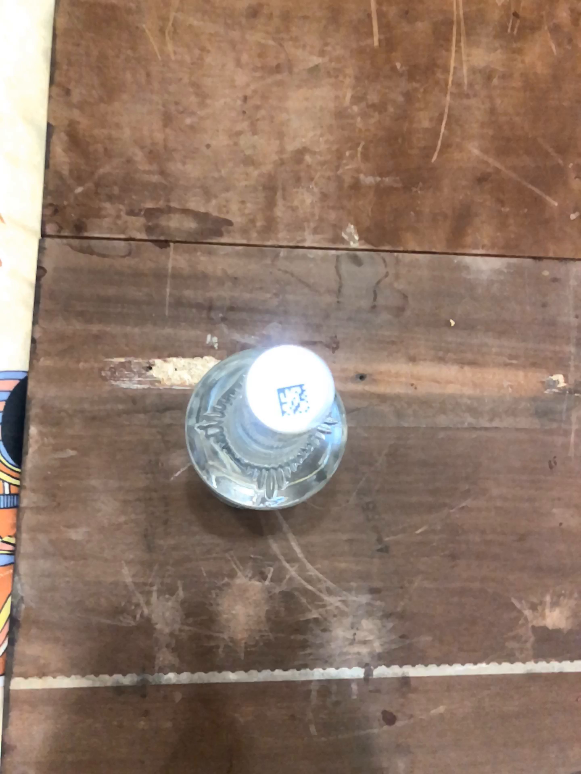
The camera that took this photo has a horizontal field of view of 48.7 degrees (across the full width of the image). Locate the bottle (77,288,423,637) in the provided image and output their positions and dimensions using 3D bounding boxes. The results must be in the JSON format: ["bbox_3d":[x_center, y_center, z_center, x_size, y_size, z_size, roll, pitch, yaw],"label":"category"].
[{"bbox_3d":[-0.022,0.041,0.332,0.075,0.274,0.077,1,82,-4],"label":"bottle"}]
